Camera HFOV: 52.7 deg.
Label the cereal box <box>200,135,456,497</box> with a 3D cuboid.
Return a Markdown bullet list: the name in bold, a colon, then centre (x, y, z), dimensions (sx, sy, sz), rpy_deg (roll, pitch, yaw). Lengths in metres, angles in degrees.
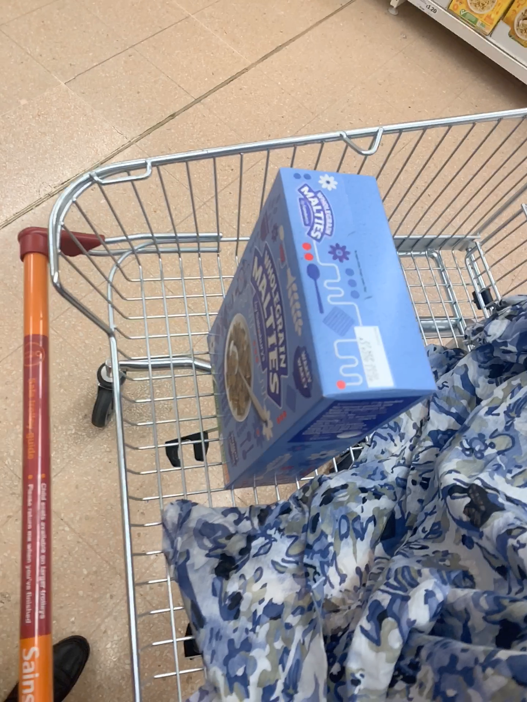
- **cereal box**: centre (0.024, -0.005, 0.497), dimensions (0.090, 0.288, 0.221), rpy_deg (-2, 67, -19)
